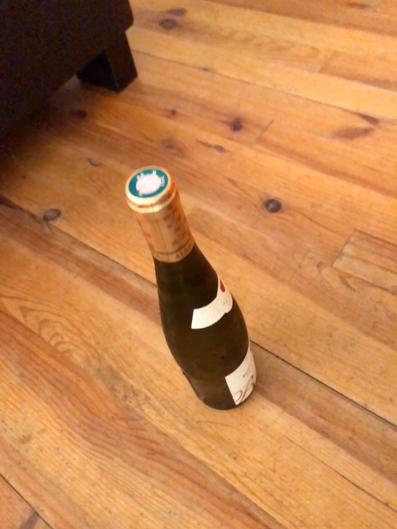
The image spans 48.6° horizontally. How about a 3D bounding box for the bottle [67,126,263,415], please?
[{"bbox_3d":[0.002,0.043,0.371,0.080,0.319,0.080,-6,56,9],"label":"bottle"}]
